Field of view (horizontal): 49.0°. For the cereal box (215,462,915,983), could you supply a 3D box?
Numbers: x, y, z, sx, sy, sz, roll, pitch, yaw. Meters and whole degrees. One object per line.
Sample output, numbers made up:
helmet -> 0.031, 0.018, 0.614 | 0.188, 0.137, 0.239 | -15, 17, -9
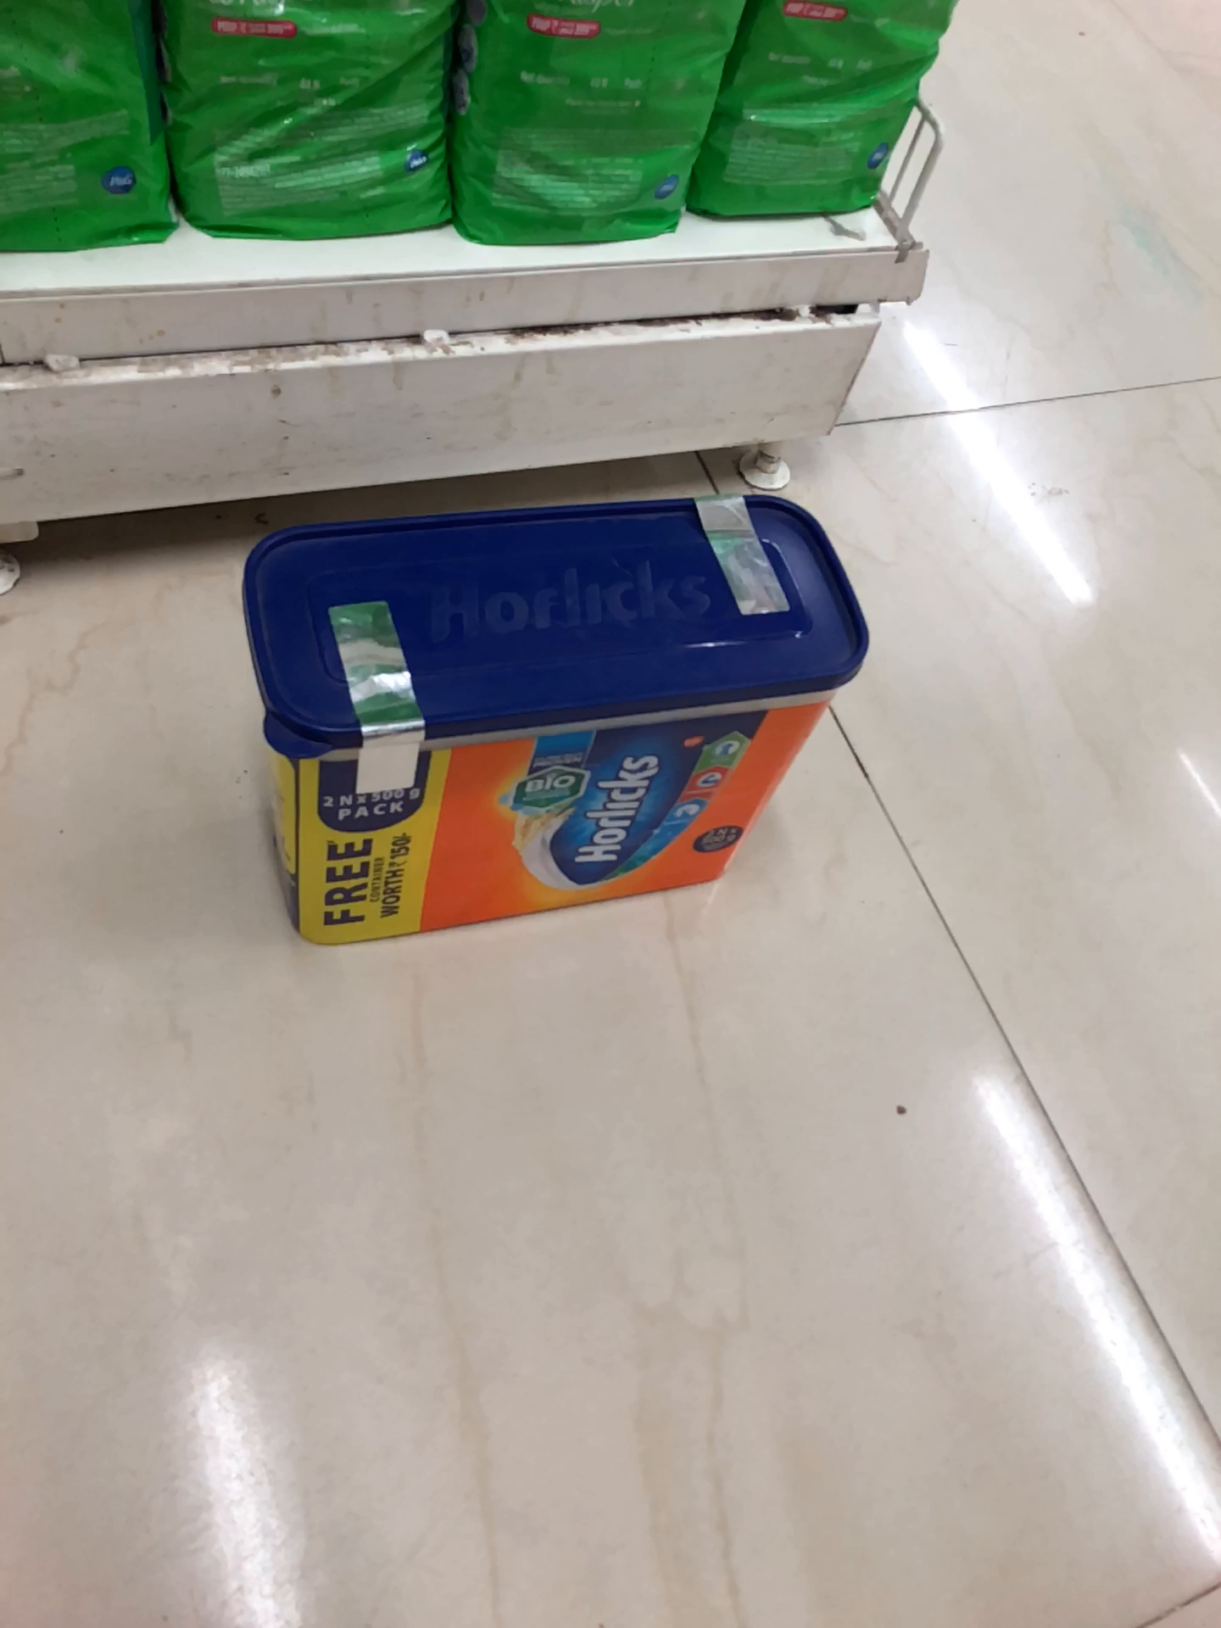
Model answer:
cereal box -> -0.028, -0.034, 0.516 | 0.221, 0.159, 0.100 | -9, 61, -18
